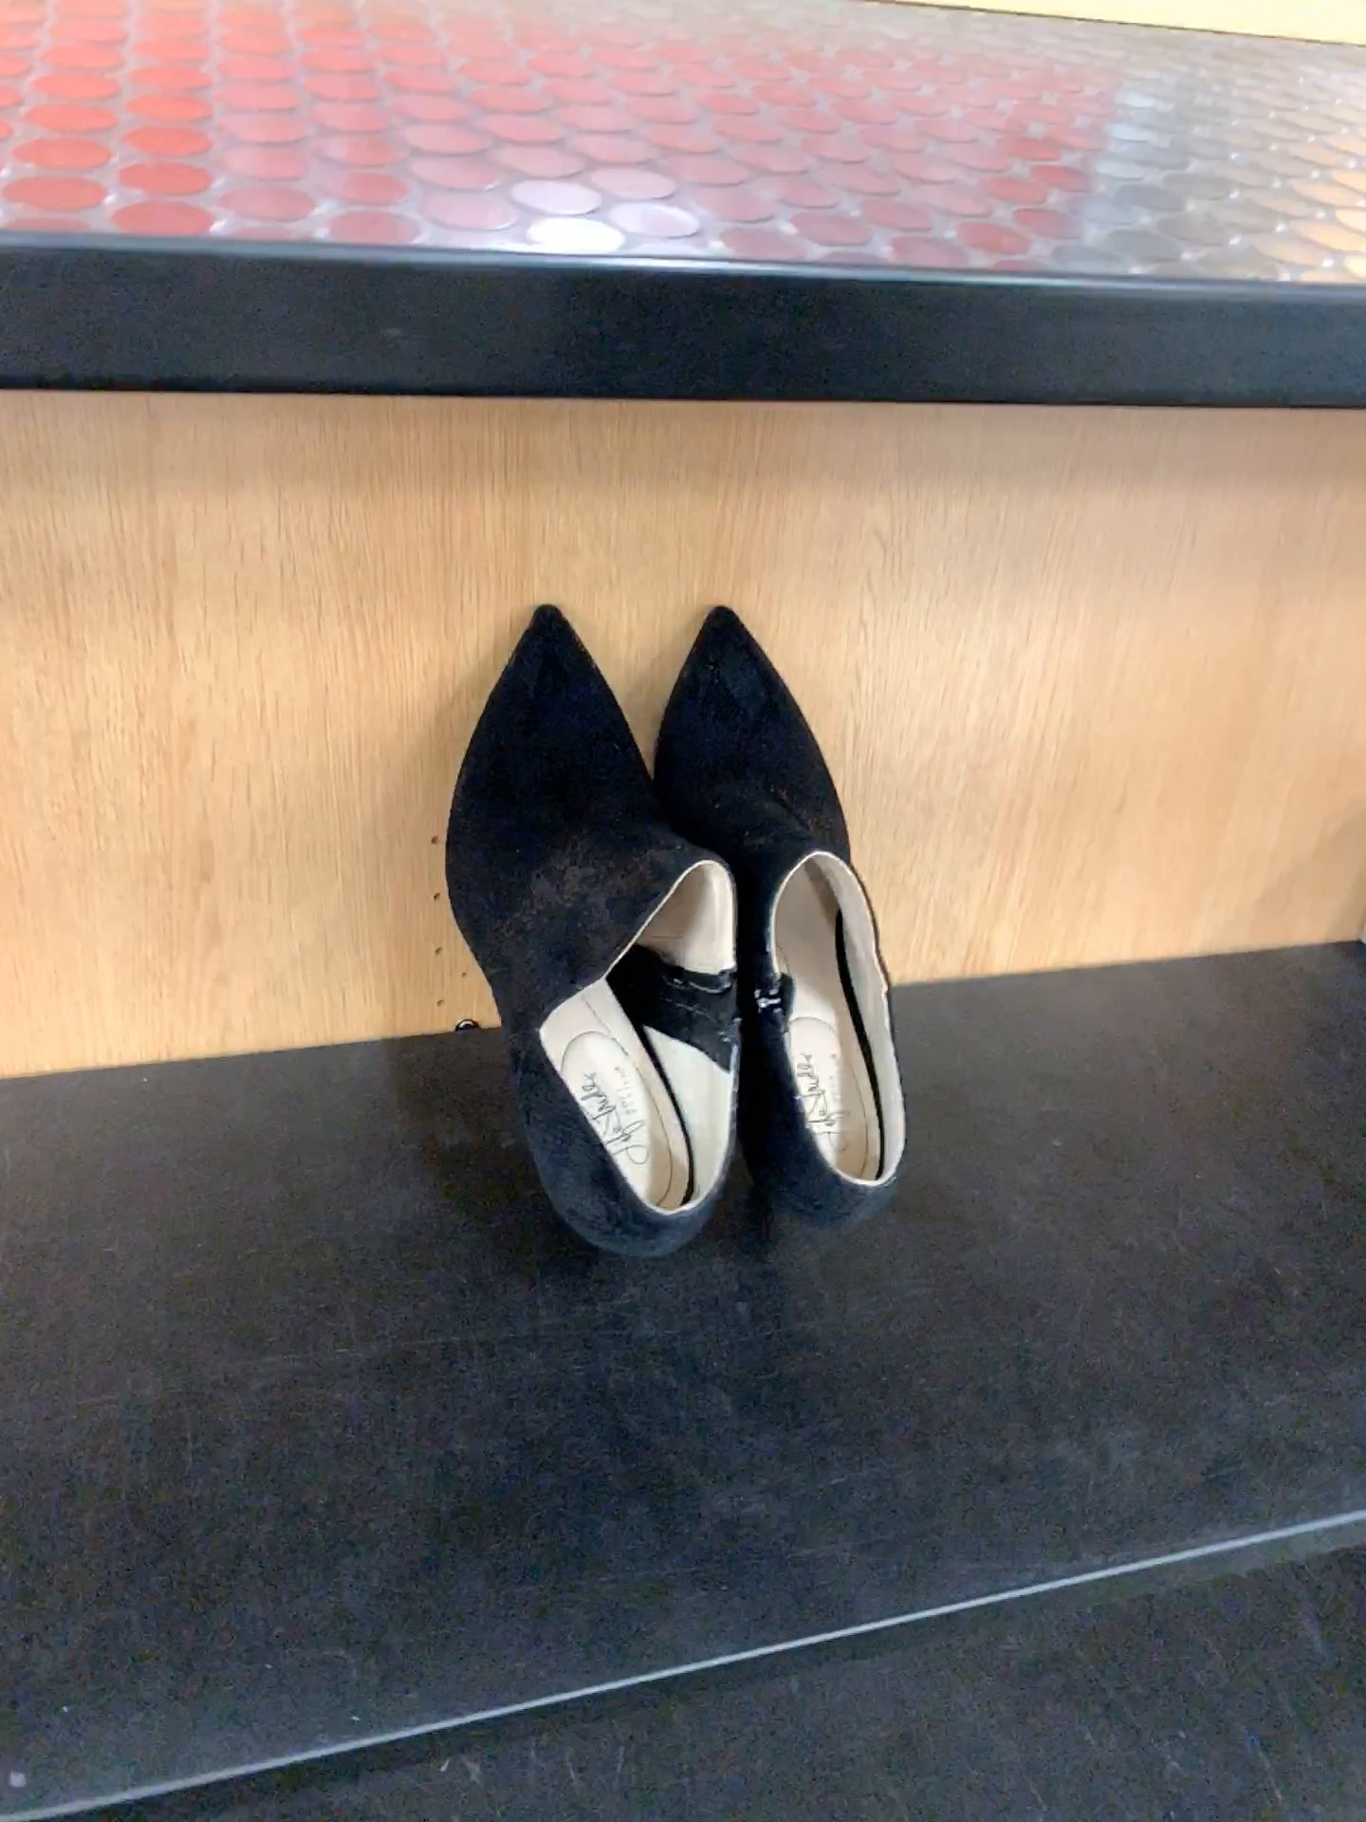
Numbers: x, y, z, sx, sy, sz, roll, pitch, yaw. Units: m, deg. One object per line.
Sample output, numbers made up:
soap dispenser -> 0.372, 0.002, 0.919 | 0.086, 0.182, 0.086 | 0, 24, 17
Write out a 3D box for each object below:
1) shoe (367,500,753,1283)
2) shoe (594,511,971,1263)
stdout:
shoe -> -0.059, -0.005, 0.554 | 0.101, 0.271, 0.140 | -5, -9, -15
shoe -> 0.032, -0.007, 0.591 | 0.111, 0.281, 0.120 | -6, -8, -4
